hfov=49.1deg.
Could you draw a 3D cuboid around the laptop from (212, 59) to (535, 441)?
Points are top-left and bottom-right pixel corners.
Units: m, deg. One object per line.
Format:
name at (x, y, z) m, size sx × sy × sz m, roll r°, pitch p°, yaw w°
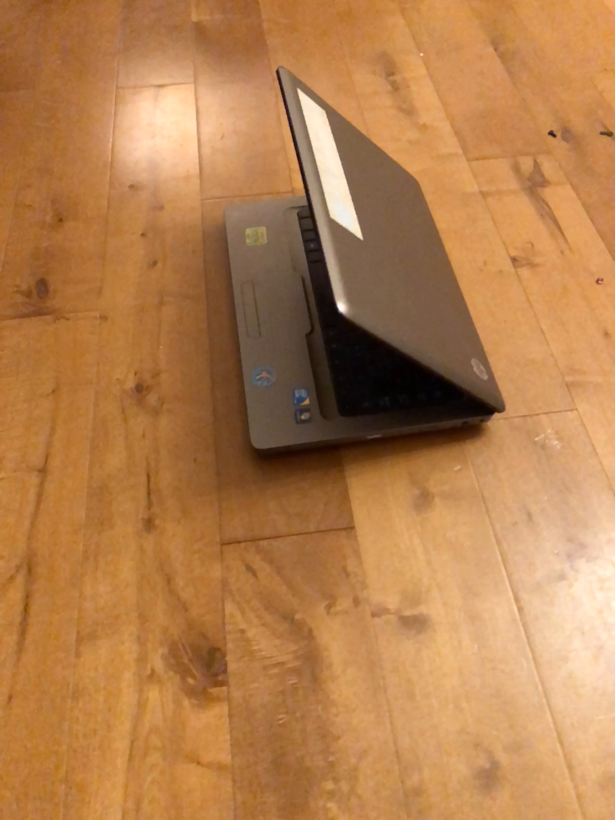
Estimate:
laptop at (0.038, -0.173, 0.681) m, size 0.222 × 0.164 × 0.348 m, roll -8°, pitch 55°, yaw -3°
